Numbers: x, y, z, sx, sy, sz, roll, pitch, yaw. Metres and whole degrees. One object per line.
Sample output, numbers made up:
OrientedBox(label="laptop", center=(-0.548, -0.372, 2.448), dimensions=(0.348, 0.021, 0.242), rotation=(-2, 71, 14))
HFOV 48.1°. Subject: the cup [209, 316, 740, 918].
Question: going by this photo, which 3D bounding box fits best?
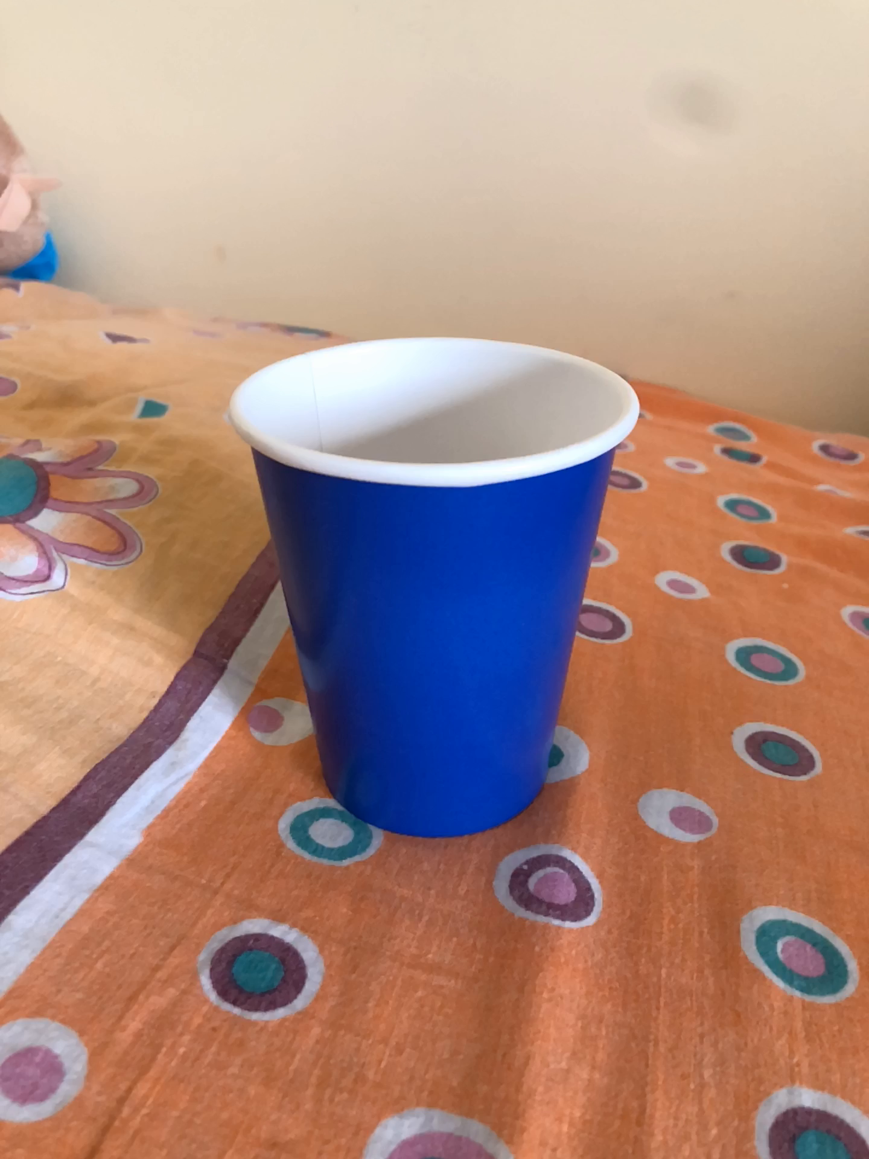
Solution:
OrientedBox(label="cup", center=(0.003, 0.001, 0.212), dimensions=(0.080, 0.090, 0.080), rotation=(-1, 30, 0))
